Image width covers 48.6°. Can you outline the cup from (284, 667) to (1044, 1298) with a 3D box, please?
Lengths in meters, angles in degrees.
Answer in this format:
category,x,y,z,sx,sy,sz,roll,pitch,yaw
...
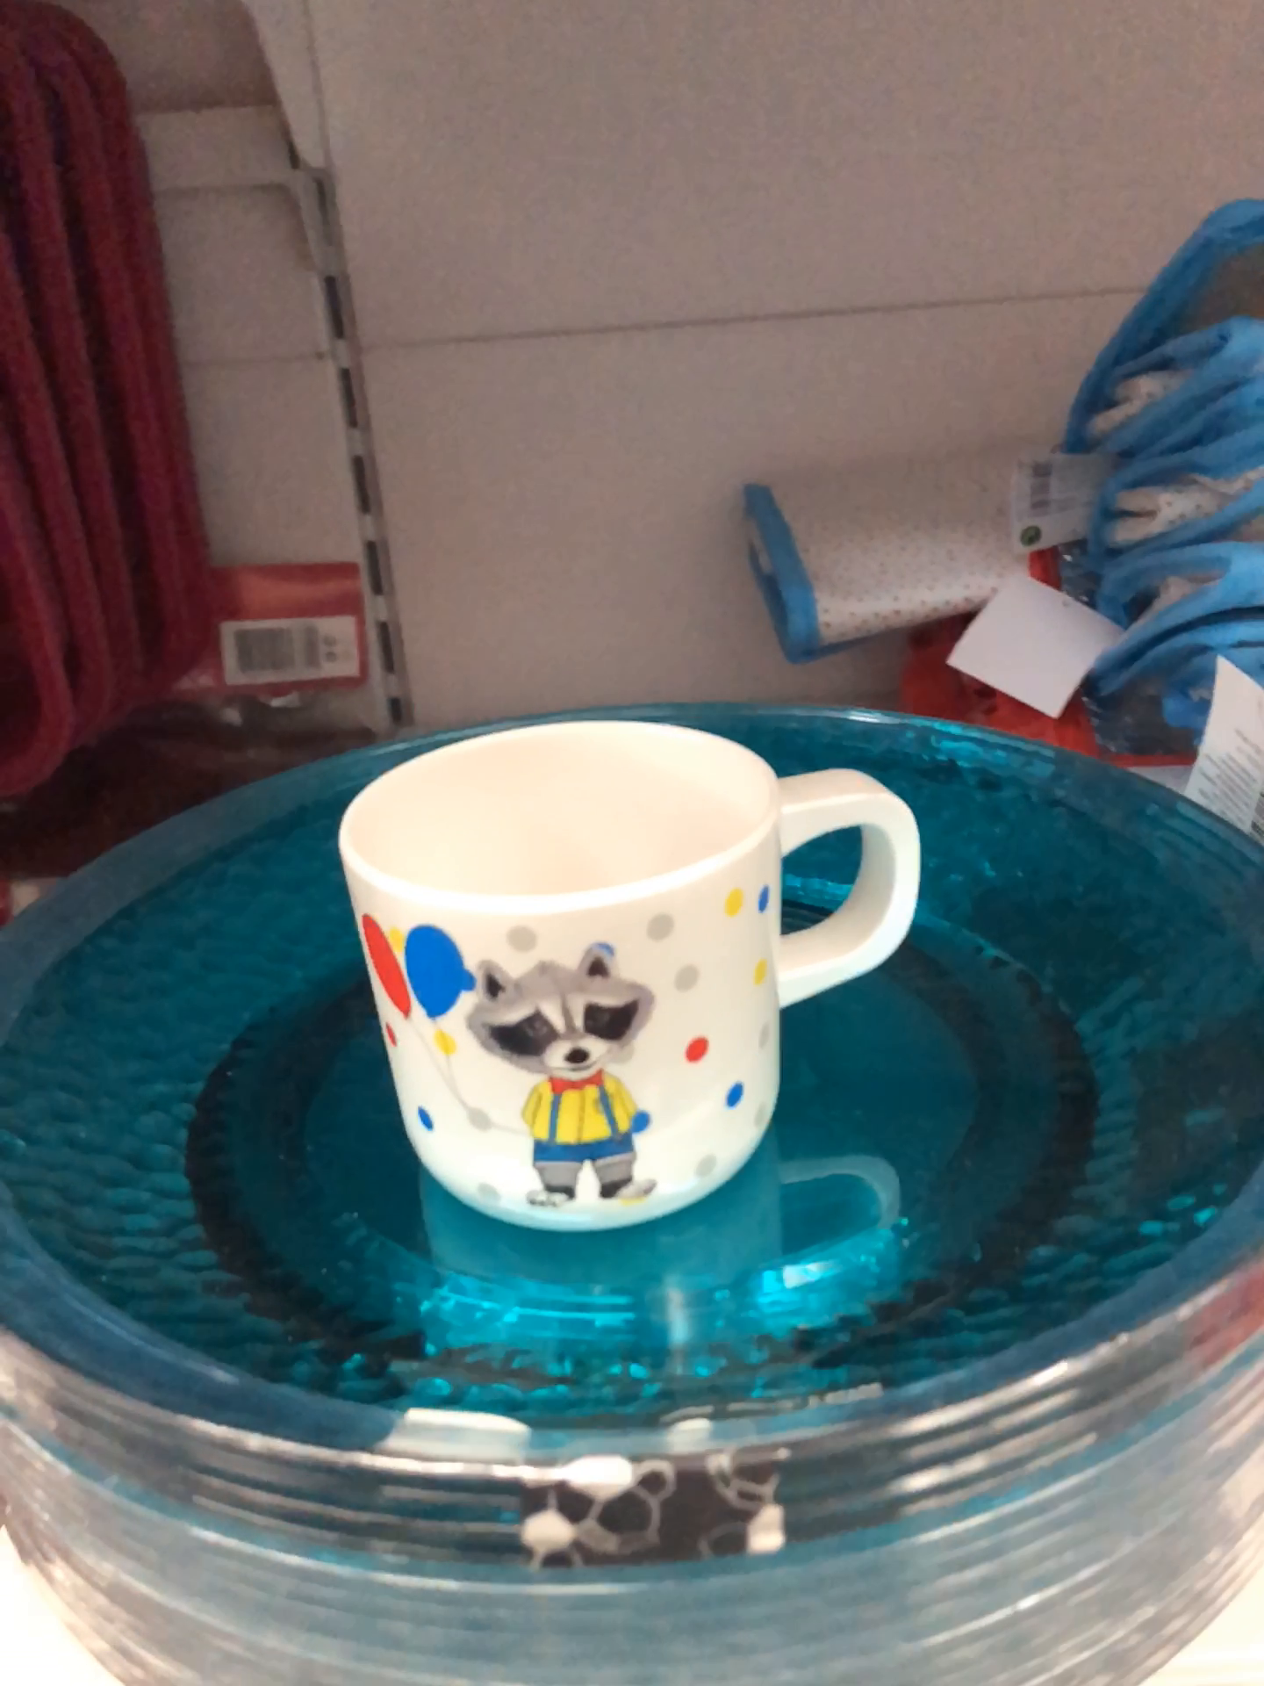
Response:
category,x,y,z,sx,sy,sz,roll,pitch,yaw
cup,0.002,0.016,0.252,0.109,0.059,0.081,-12,26,-16
